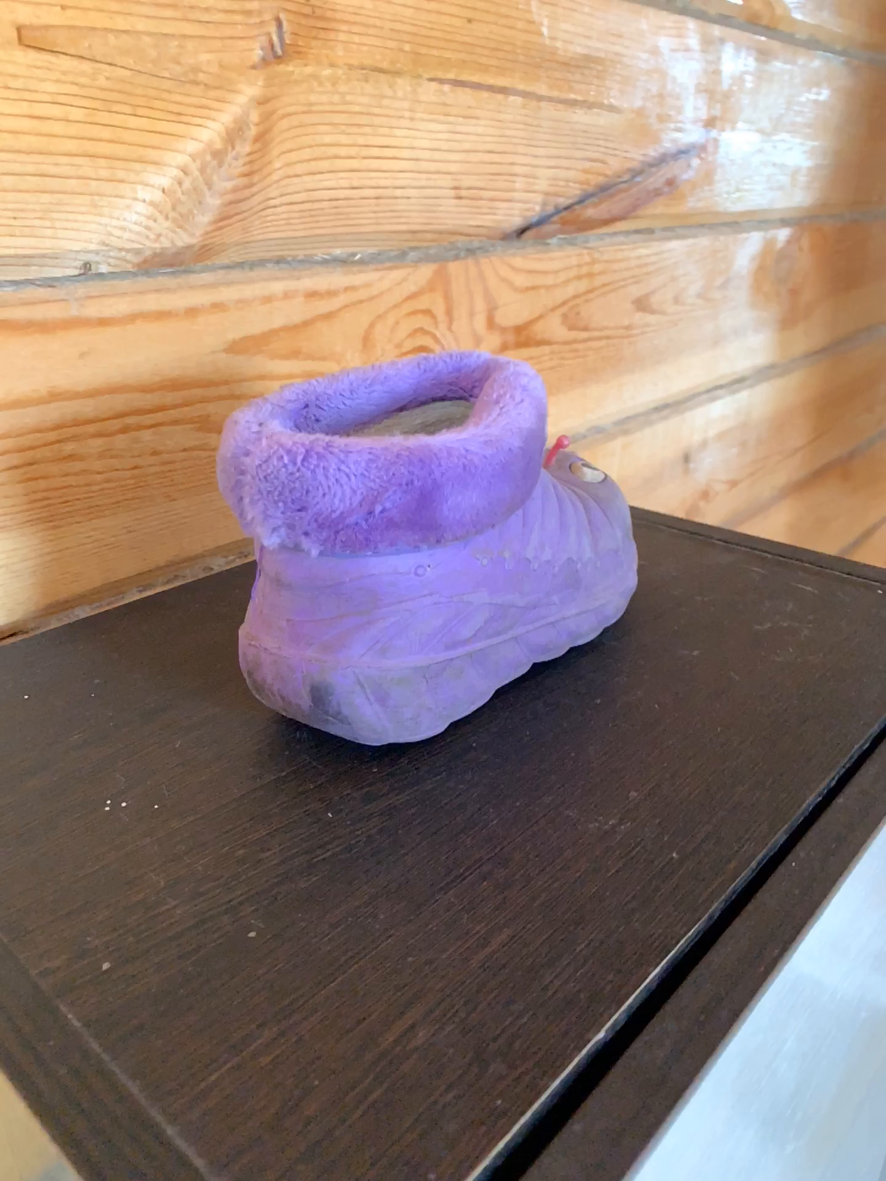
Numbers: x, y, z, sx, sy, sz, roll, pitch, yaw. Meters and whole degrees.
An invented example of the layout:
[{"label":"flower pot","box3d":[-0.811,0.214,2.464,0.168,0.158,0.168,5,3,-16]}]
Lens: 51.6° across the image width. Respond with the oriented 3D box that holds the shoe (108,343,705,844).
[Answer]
[{"label":"shoe","box3d":[0.004,-0.021,0.323,0.090,0.099,0.201,16,28,36]}]
